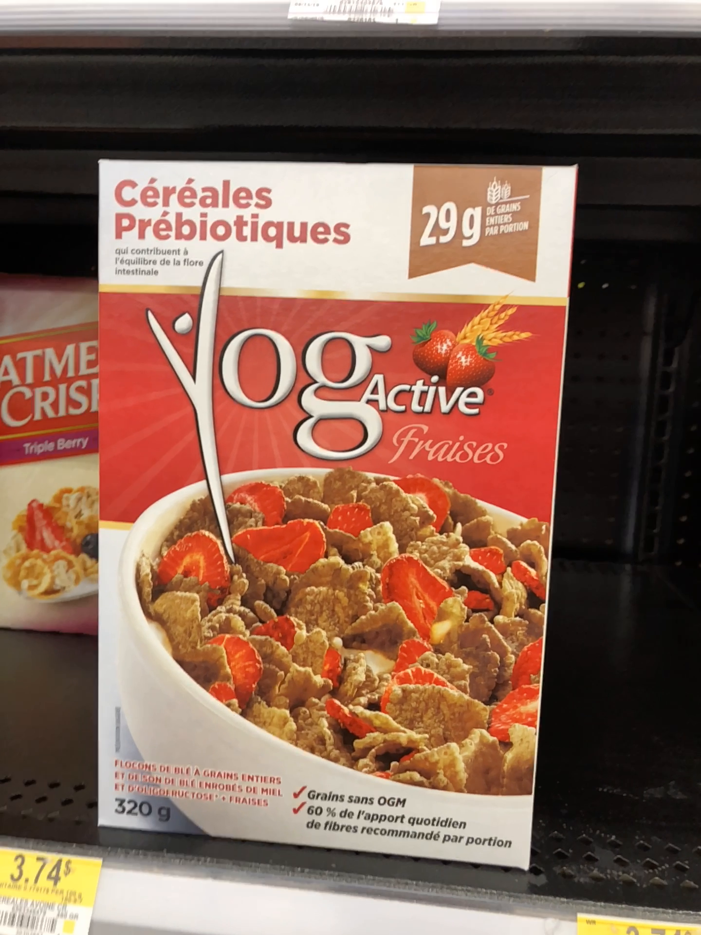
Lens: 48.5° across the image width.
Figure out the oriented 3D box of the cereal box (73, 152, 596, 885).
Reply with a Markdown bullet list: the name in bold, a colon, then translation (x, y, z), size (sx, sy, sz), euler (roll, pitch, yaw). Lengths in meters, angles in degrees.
- **cereal box**: translation (-0.013, 0.022, 0.339), size (0.200, 0.289, 0.050), euler (3, 8, 6)
